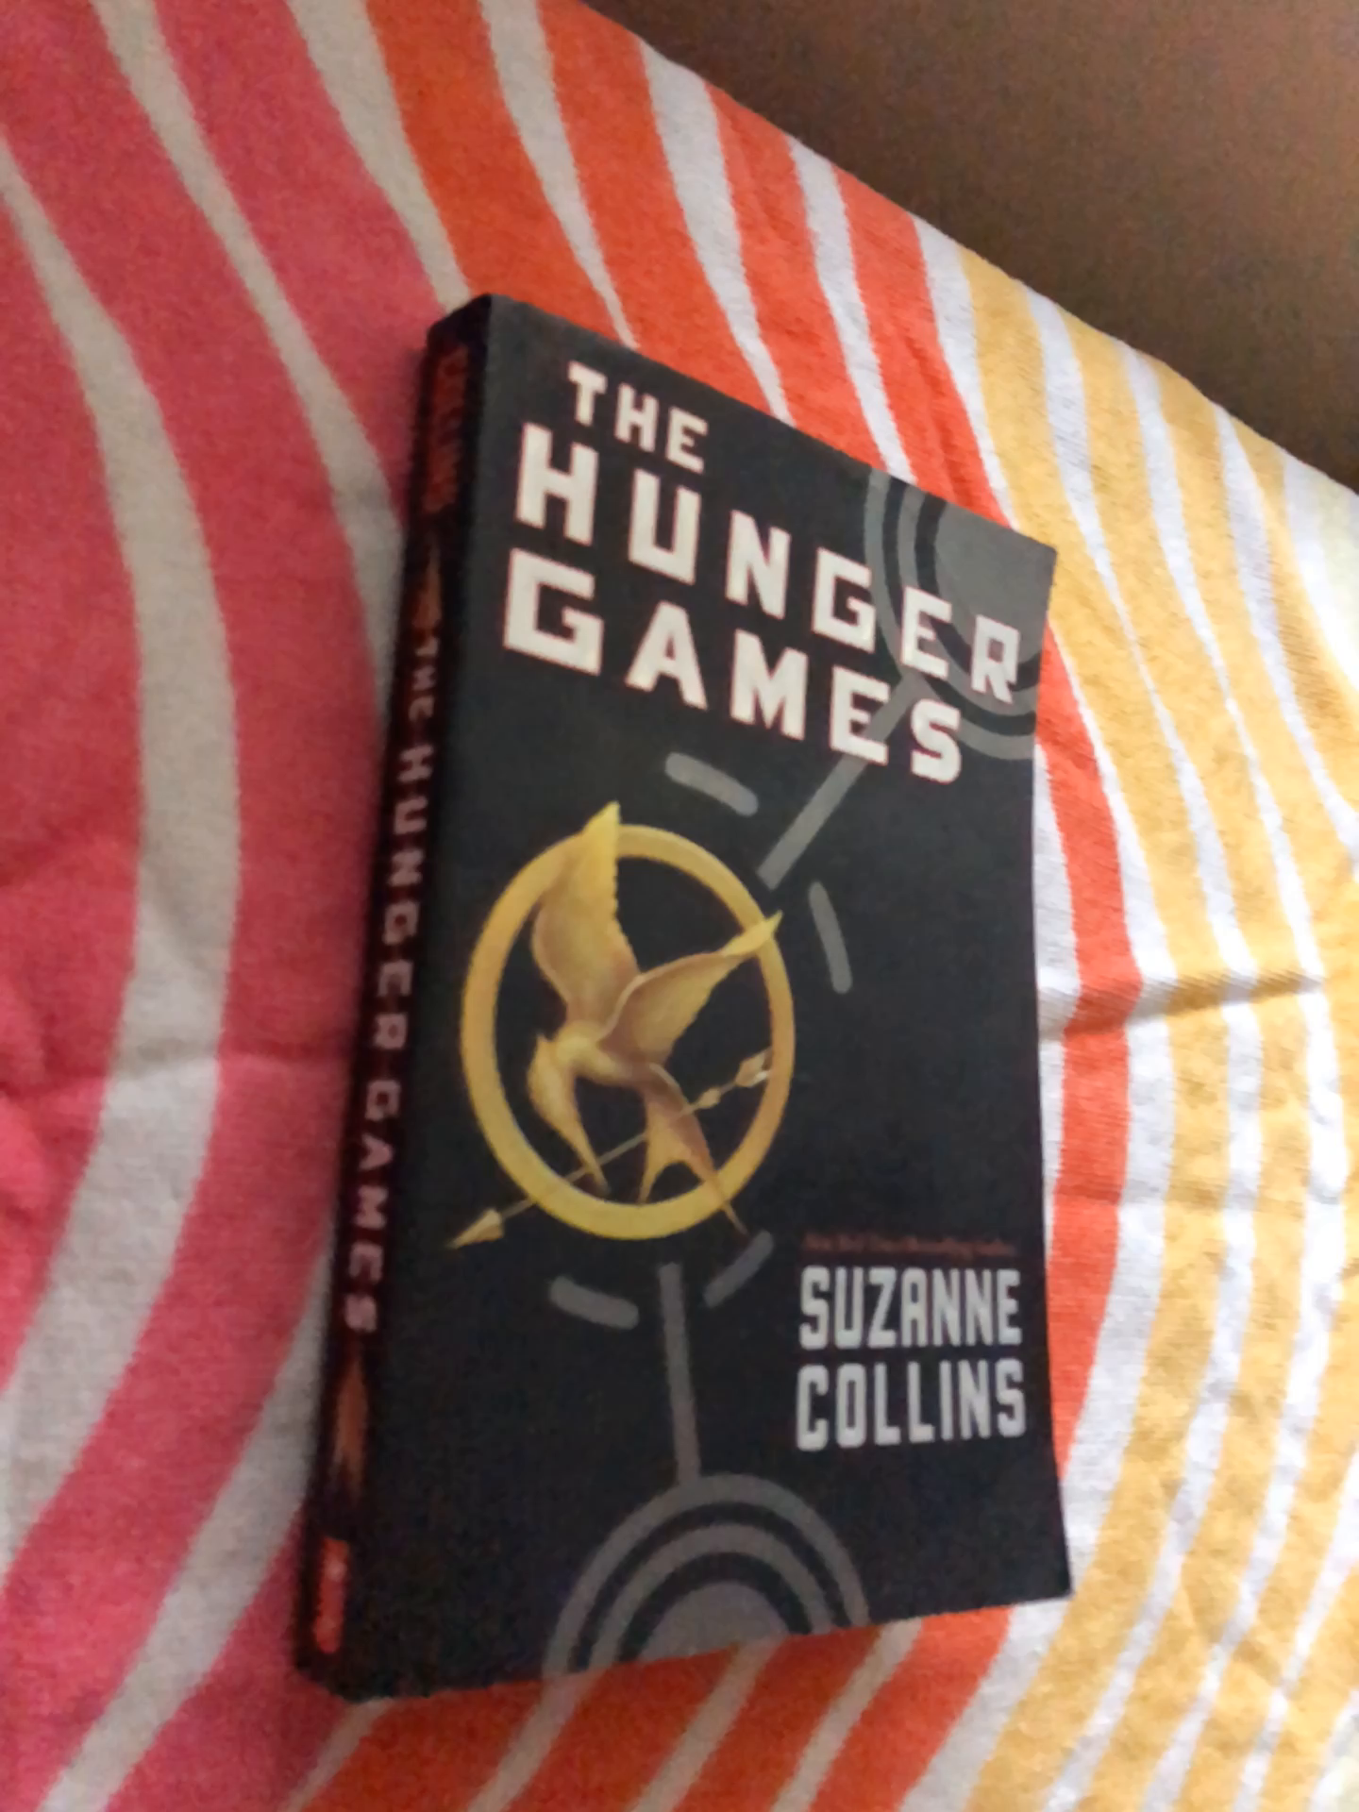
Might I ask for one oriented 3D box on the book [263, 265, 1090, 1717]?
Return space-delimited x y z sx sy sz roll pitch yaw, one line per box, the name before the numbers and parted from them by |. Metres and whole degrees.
book | 0.012 0.016 0.260 0.138 0.037 0.200 12 77 -37
